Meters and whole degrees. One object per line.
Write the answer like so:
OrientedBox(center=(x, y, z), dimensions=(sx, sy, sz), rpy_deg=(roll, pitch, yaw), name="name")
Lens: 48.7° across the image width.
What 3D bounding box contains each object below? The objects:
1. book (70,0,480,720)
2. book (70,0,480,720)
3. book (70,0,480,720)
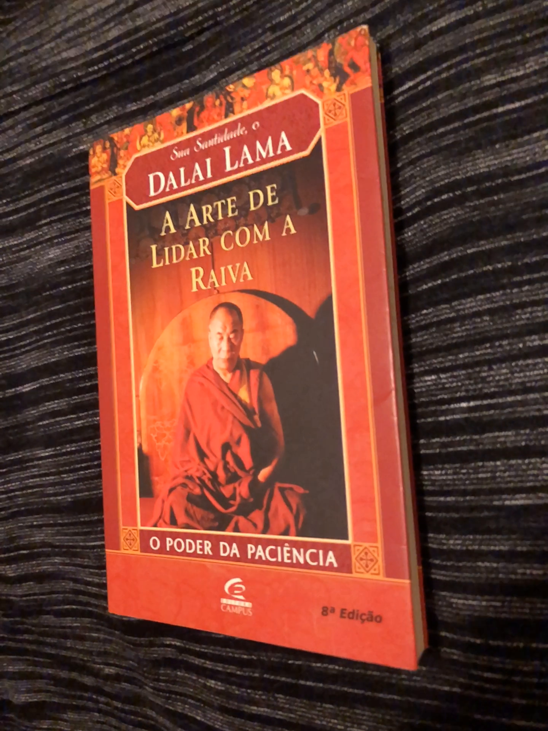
OrientedBox(center=(-0.012, -0.004, 0.229), dimensions=(0.151, 0.030, 0.220), rpy_deg=(-6, 84, 32), name="book")
OrientedBox(center=(-0.012, -0.004, 0.229), dimensions=(0.151, 0.030, 0.220), rpy_deg=(-6, 84, 32), name="book")
OrientedBox(center=(-0.012, -0.004, 0.229), dimensions=(0.151, 0.030, 0.220), rpy_deg=(-6, 84, 32), name="book")
